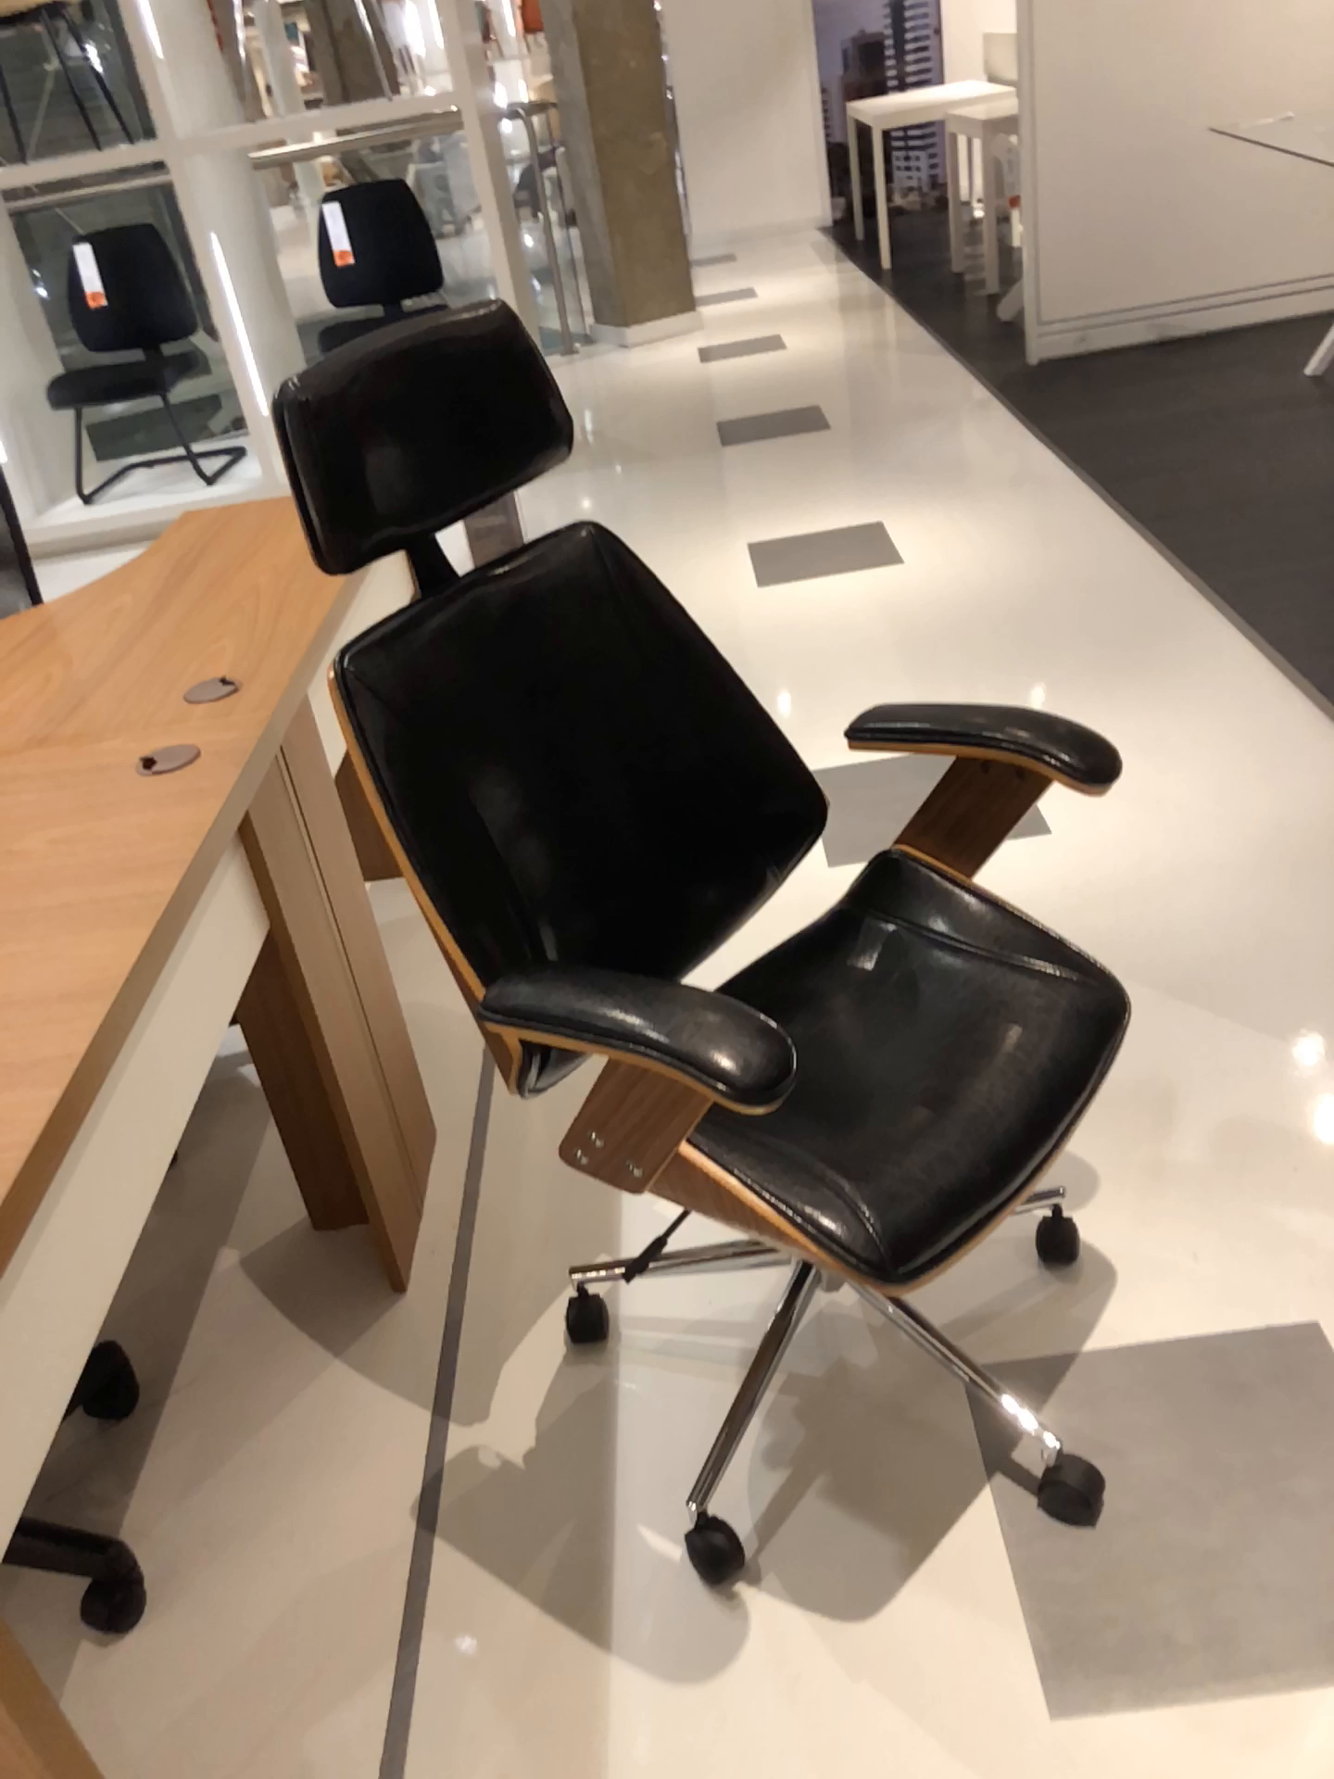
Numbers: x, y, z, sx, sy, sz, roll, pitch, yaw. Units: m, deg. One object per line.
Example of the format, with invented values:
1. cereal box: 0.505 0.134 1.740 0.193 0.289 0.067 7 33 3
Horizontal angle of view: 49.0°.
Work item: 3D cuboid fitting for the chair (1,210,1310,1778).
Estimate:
1. chair: 0.086 0.036 1.417 0.762 1.102 0.724 13 37 35
